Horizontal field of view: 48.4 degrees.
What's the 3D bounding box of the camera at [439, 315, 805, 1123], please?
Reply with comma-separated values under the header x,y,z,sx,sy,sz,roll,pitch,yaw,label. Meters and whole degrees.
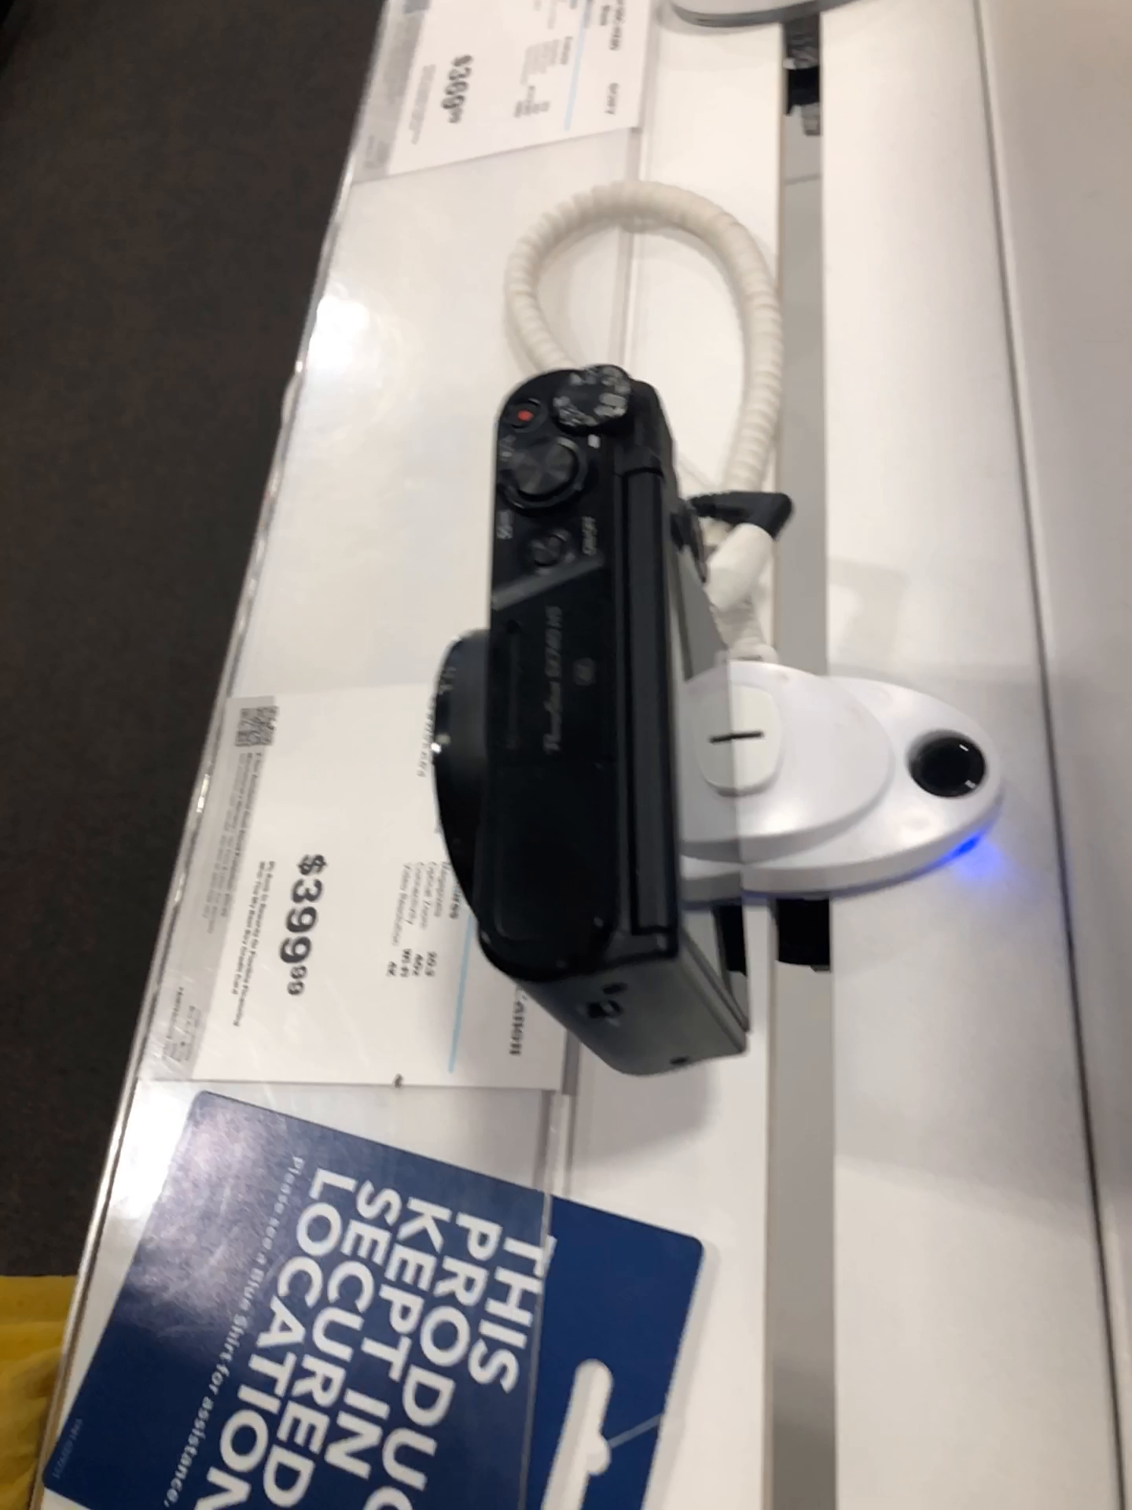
x,y,z,sx,sy,sz,roll,pitch,yaw,label
0.013,-0.004,0.223,0.040,0.070,0.120,-8,61,15,camera
